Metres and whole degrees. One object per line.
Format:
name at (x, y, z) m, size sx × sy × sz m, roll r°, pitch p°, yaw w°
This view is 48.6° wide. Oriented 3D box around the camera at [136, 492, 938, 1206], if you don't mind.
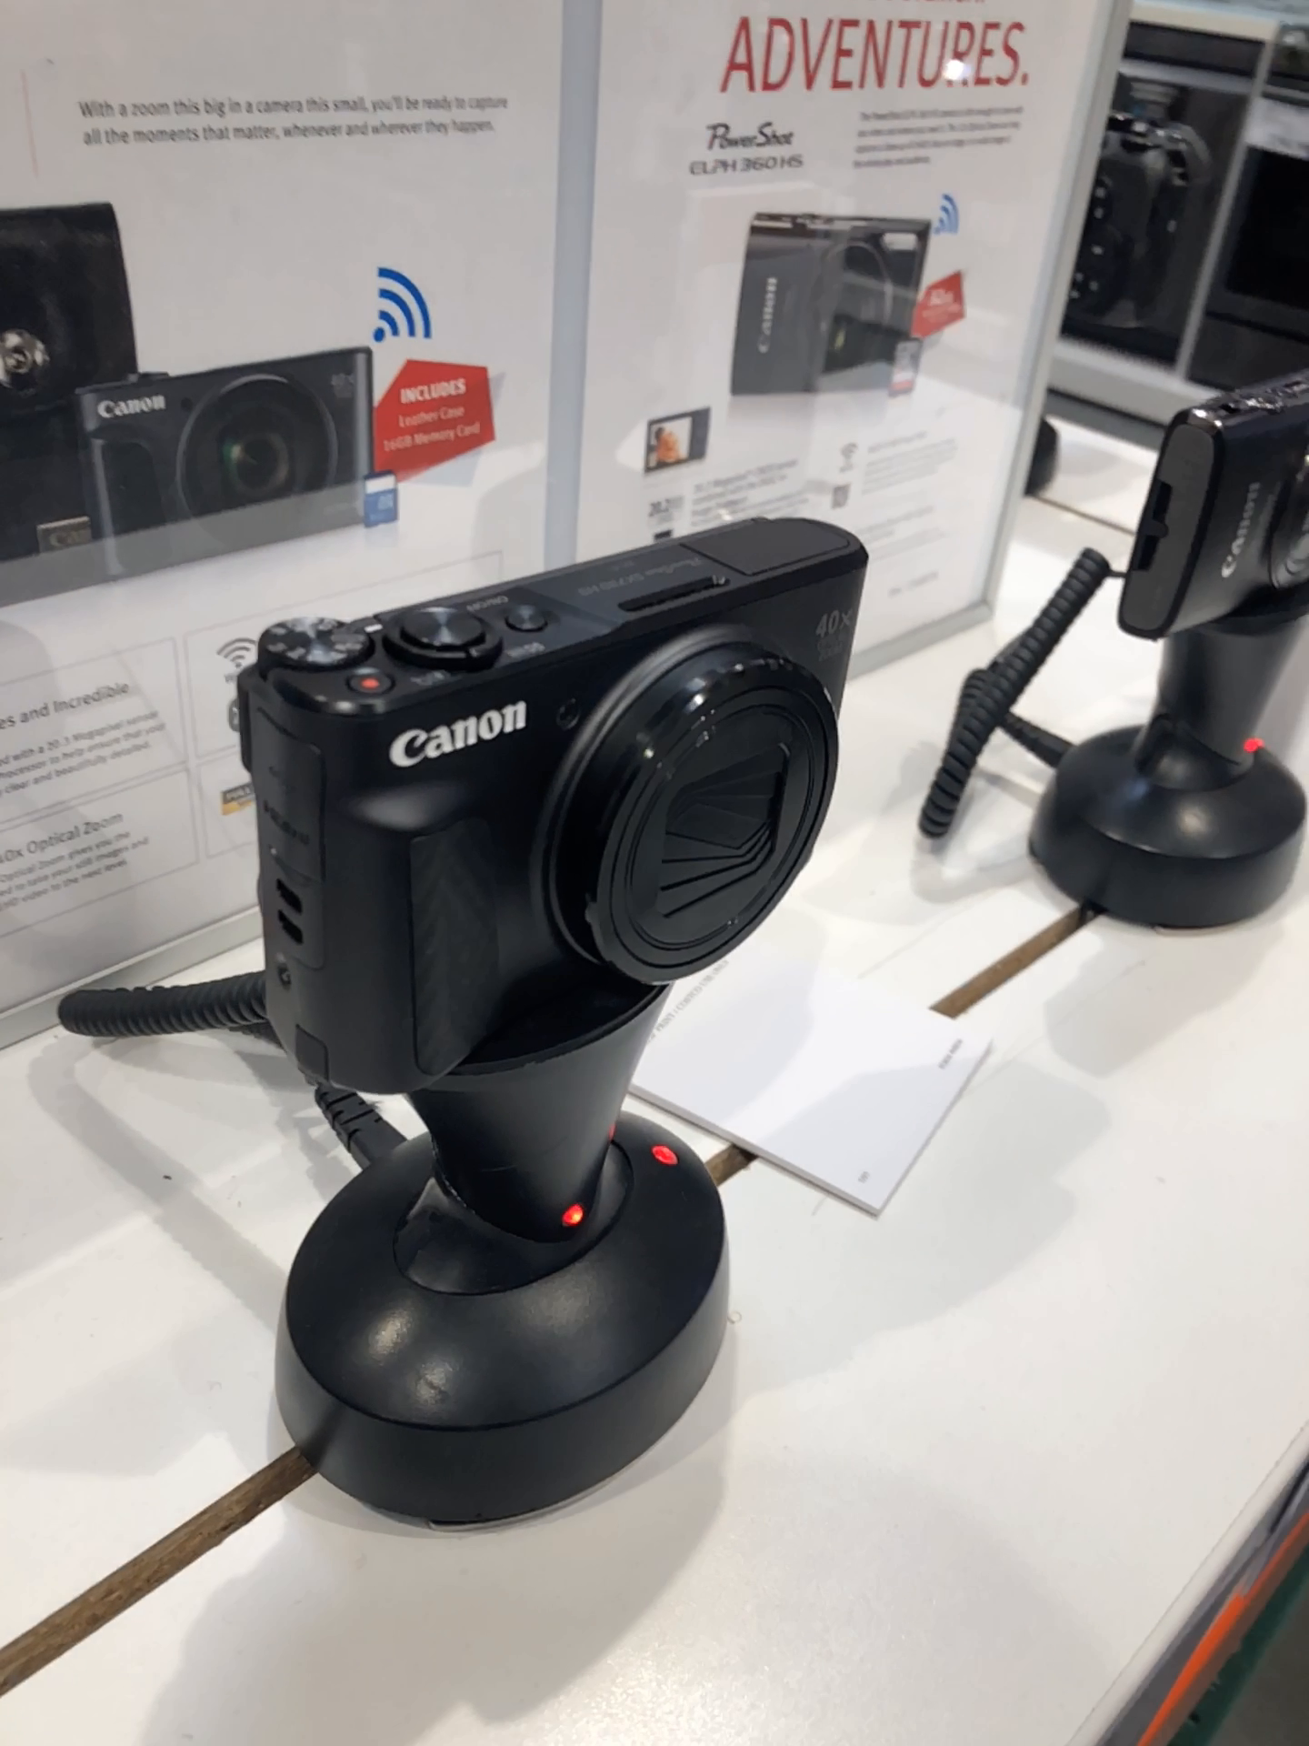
camera at (-0.014, -0.011, 0.232) m, size 0.120 × 0.070 × 0.040 m, roll -24°, pitch 44°, yaw -38°
